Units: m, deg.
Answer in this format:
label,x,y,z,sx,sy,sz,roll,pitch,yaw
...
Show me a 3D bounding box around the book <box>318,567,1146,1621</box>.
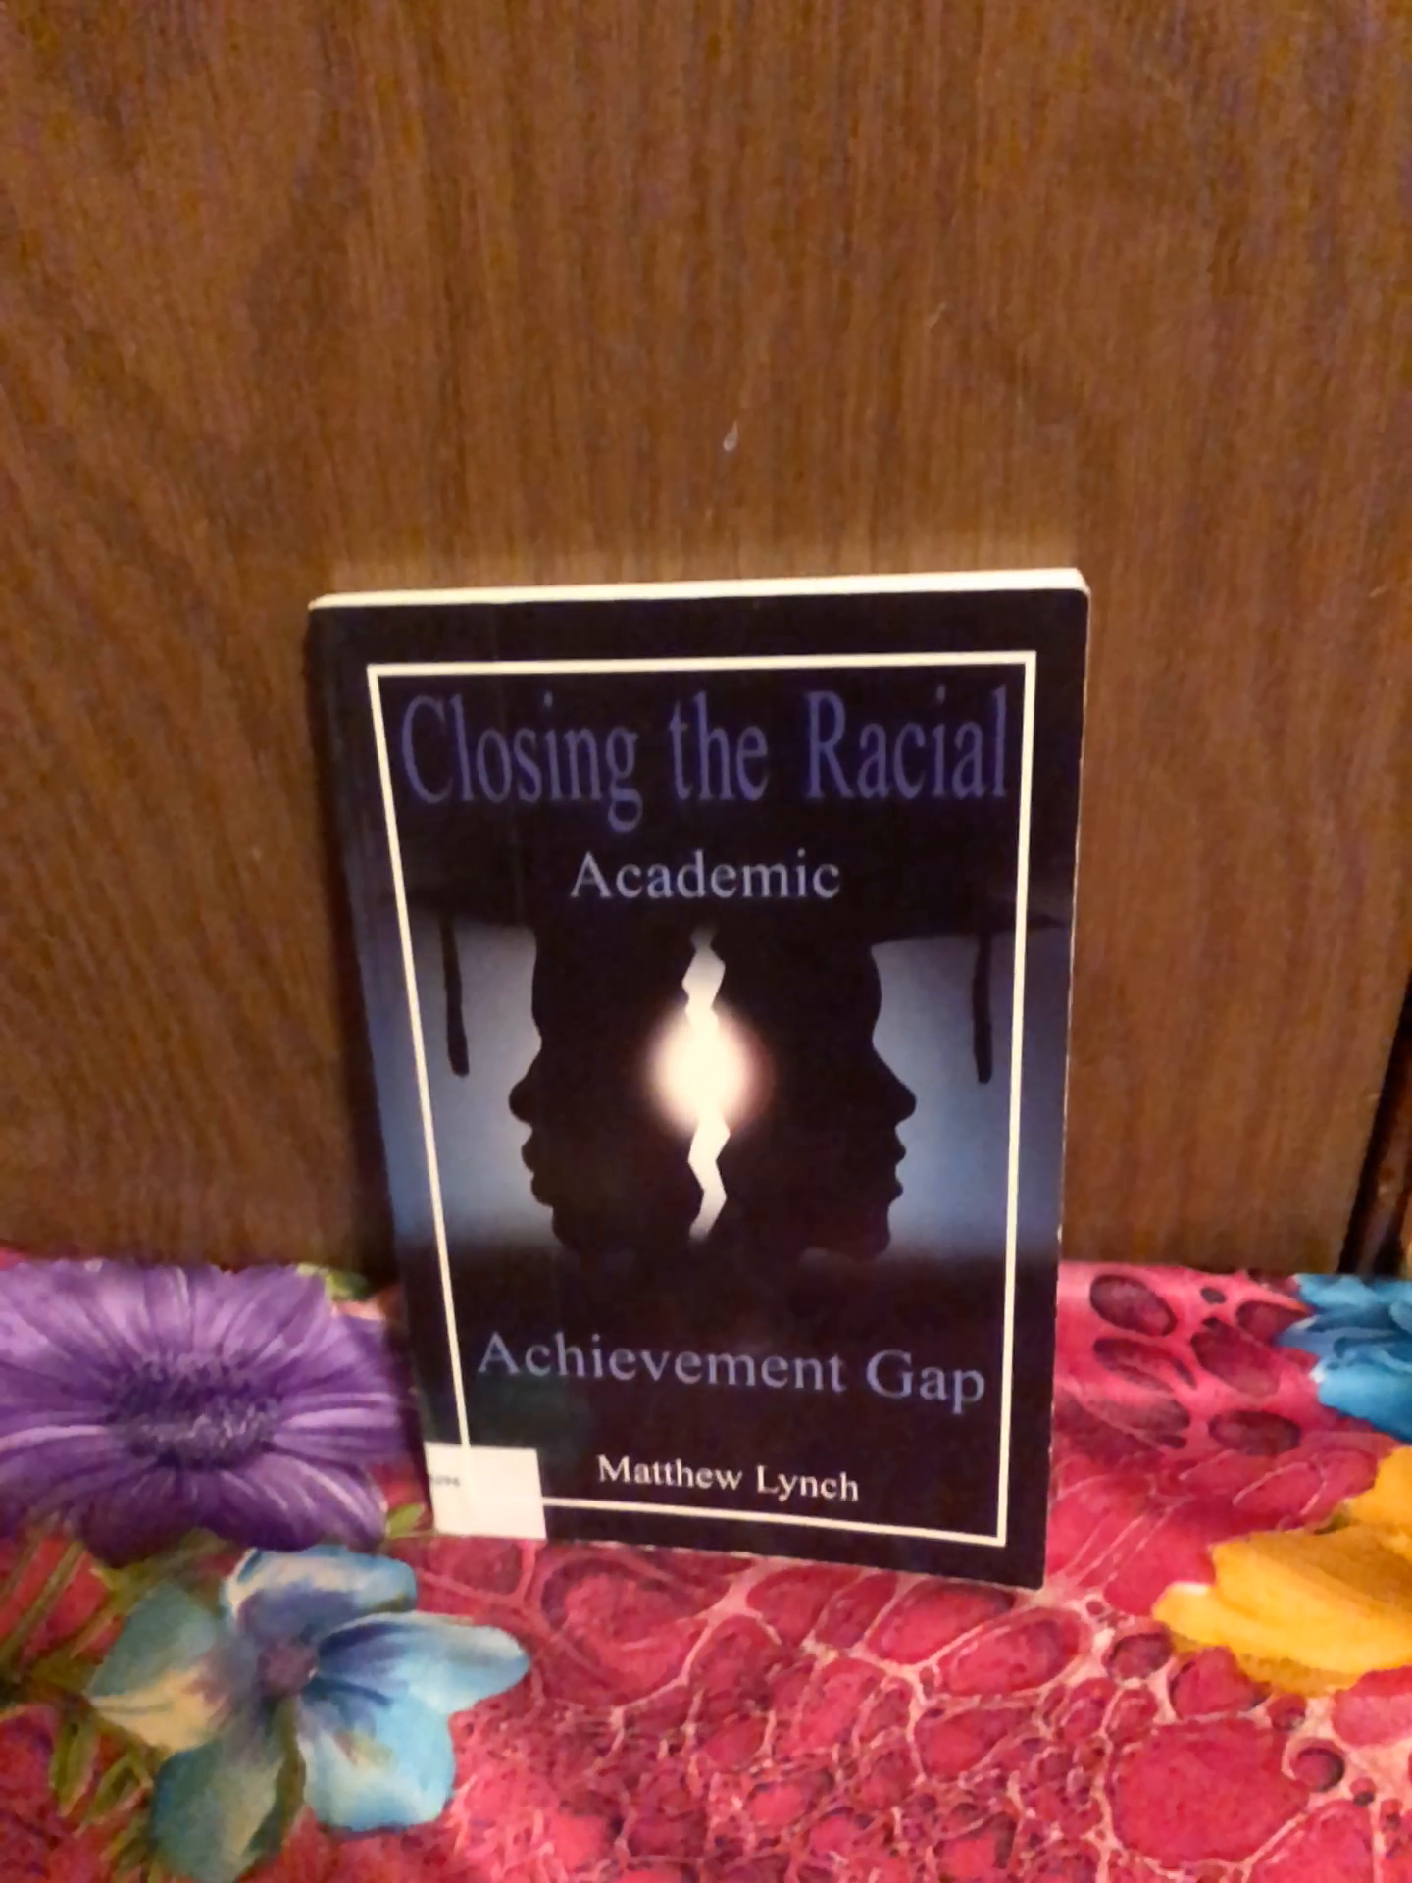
label,x,y,z,sx,sy,sz,roll,pitch,yaw
book,0.009,0.041,0.336,0.146,0.230,0.036,1,24,8
